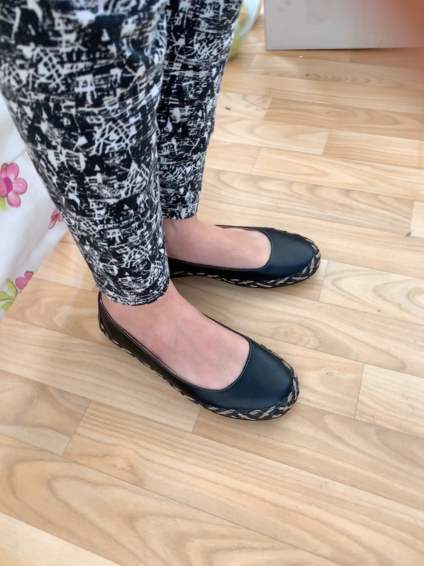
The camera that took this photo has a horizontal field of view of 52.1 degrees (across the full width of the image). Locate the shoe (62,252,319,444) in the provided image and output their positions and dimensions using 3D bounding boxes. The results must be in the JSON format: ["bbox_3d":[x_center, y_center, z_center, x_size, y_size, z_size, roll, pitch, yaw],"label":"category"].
[{"bbox_3d":[-0.026,0.066,0.496,0.265,0.070,0.100,22,61,20],"label":"shoe"}]

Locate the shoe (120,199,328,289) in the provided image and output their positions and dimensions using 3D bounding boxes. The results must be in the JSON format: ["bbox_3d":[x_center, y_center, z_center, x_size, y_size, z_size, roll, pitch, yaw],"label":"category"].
[{"bbox_3d":[0.017,-0.051,0.574,0.250,0.060,0.100,0,56,7],"label":"shoe"}]
